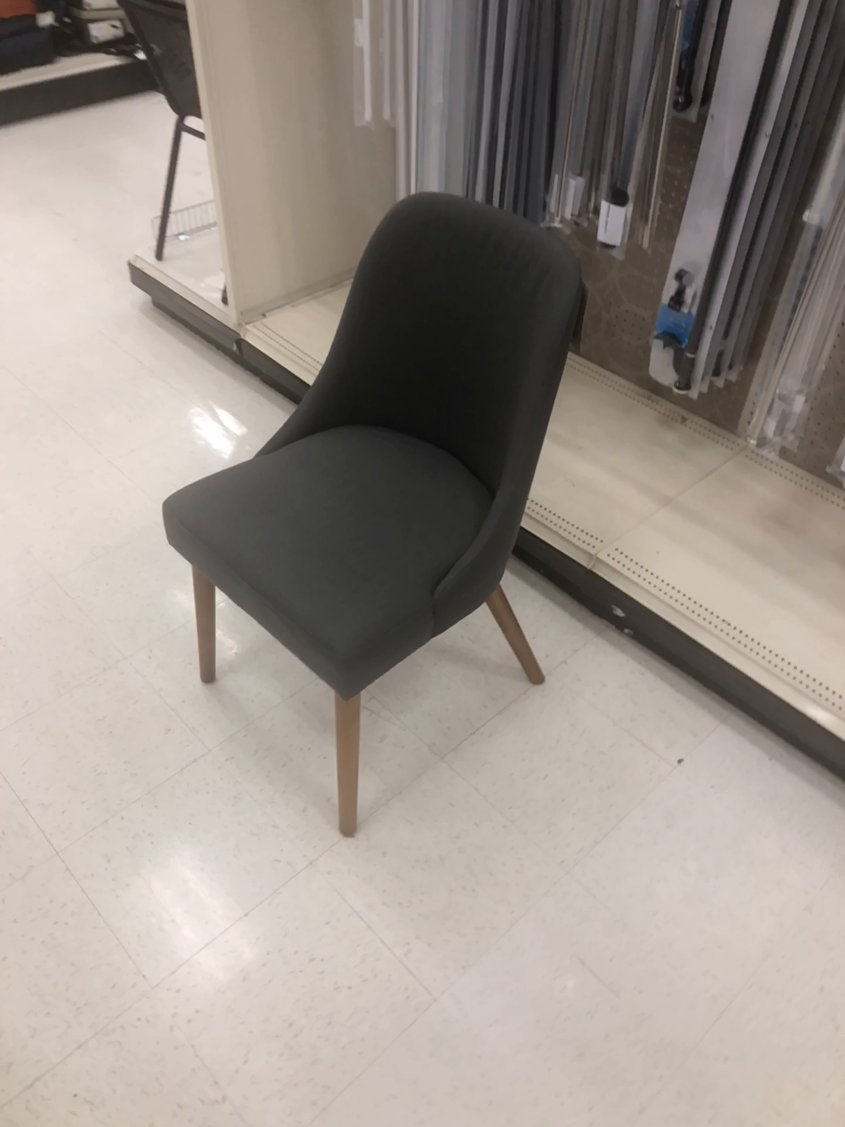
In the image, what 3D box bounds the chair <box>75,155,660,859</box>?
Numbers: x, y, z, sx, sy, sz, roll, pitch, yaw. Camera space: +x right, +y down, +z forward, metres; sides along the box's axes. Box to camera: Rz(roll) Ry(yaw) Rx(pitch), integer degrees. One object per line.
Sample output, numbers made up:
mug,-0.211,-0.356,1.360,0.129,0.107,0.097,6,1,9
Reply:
chair,-0.077,-0.092,1.528,0.588,0.859,0.514,-31,51,-30
